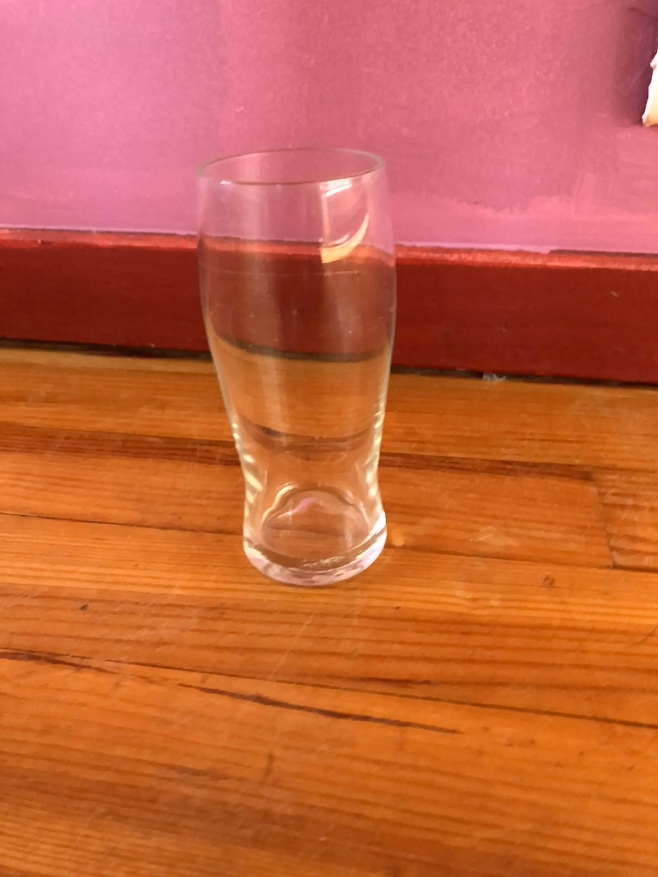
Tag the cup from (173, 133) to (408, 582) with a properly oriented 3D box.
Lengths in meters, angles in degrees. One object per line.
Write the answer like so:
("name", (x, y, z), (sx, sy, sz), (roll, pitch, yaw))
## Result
("cup", (-0.010, -0.026, 0.259), (0.063, 0.143, 0.061), (-1, 30, 1))
